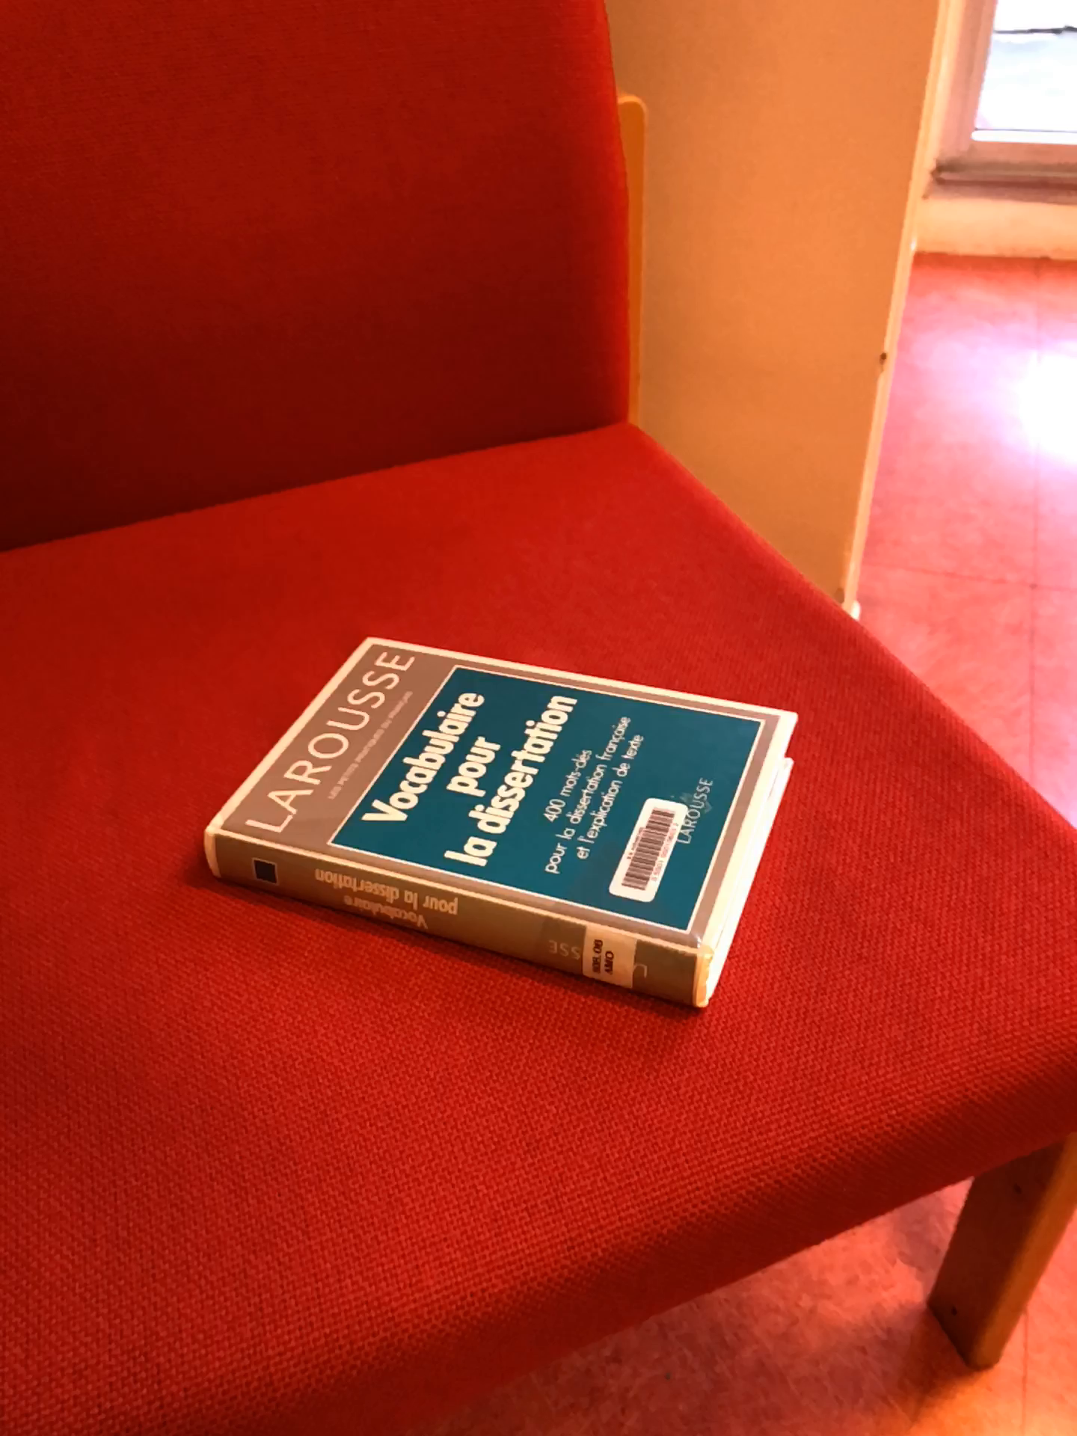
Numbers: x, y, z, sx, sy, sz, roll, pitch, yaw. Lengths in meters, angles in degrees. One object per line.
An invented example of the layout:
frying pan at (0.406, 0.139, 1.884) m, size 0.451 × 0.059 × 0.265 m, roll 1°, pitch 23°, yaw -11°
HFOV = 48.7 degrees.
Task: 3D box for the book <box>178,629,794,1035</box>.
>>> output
book at (-0.014, 0.033, 0.464) m, size 0.198 × 0.030 × 0.138 m, roll 11°, pitch 42°, yaw 18°
